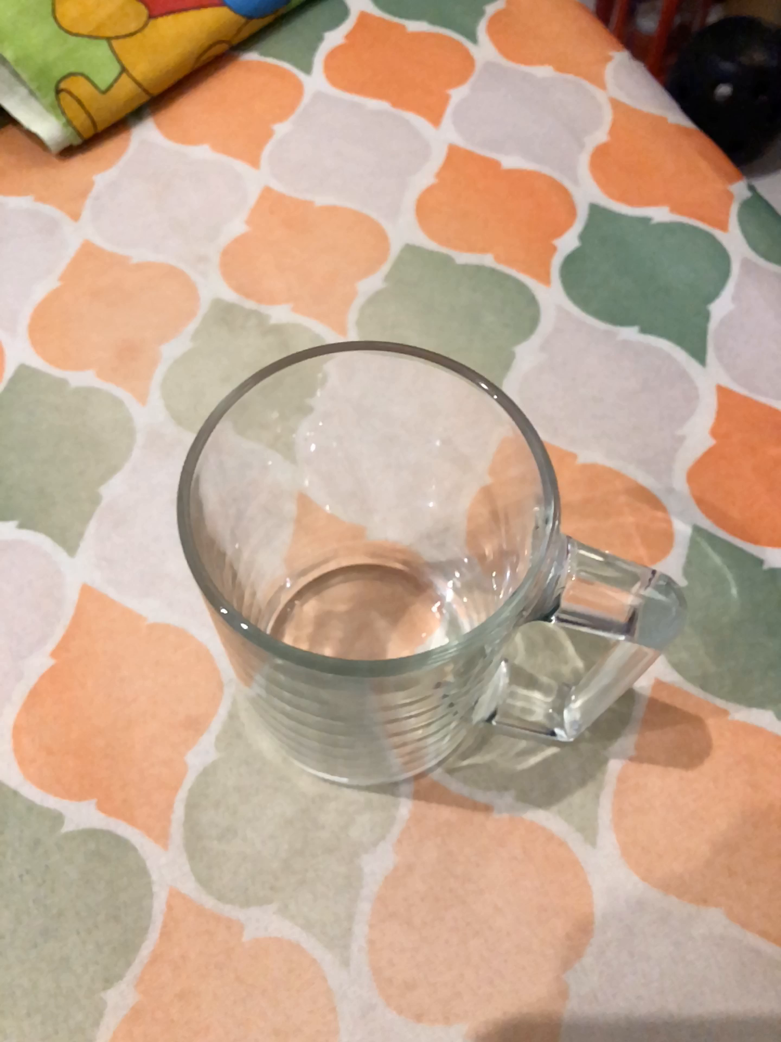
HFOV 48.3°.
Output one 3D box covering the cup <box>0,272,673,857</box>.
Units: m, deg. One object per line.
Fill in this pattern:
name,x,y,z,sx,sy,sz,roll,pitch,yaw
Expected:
cup,-0.007,0.016,0.206,0.110,0.100,0.080,13,63,7
